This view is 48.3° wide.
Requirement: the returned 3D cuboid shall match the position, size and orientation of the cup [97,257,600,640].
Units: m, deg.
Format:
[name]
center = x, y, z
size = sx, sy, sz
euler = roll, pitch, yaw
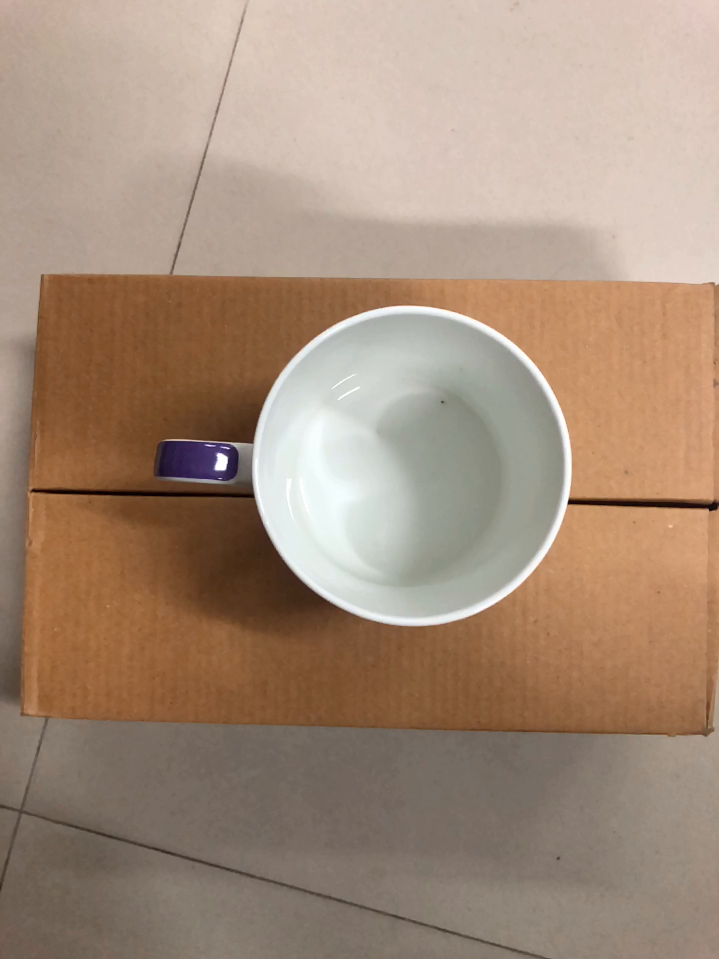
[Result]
[cup]
center = -0.002, -0.007, 0.241
size = 0.120, 0.090, 0.090
euler = 2, 88, 1
